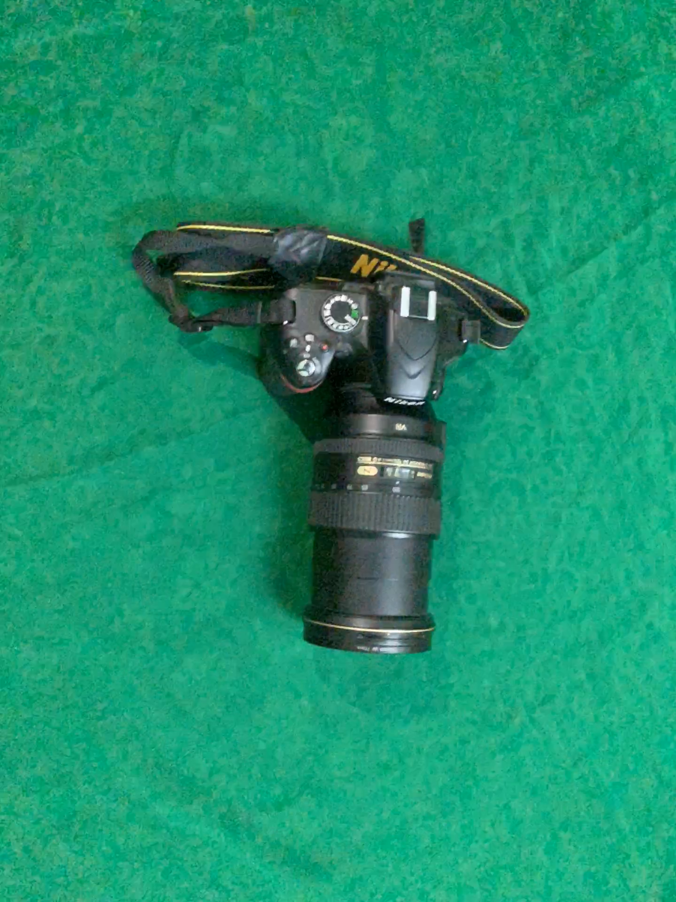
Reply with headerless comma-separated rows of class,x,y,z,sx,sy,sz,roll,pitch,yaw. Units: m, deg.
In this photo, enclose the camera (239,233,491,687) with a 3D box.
camera,0.013,0.008,0.415,0.122,0.088,0.234,3,85,-15
